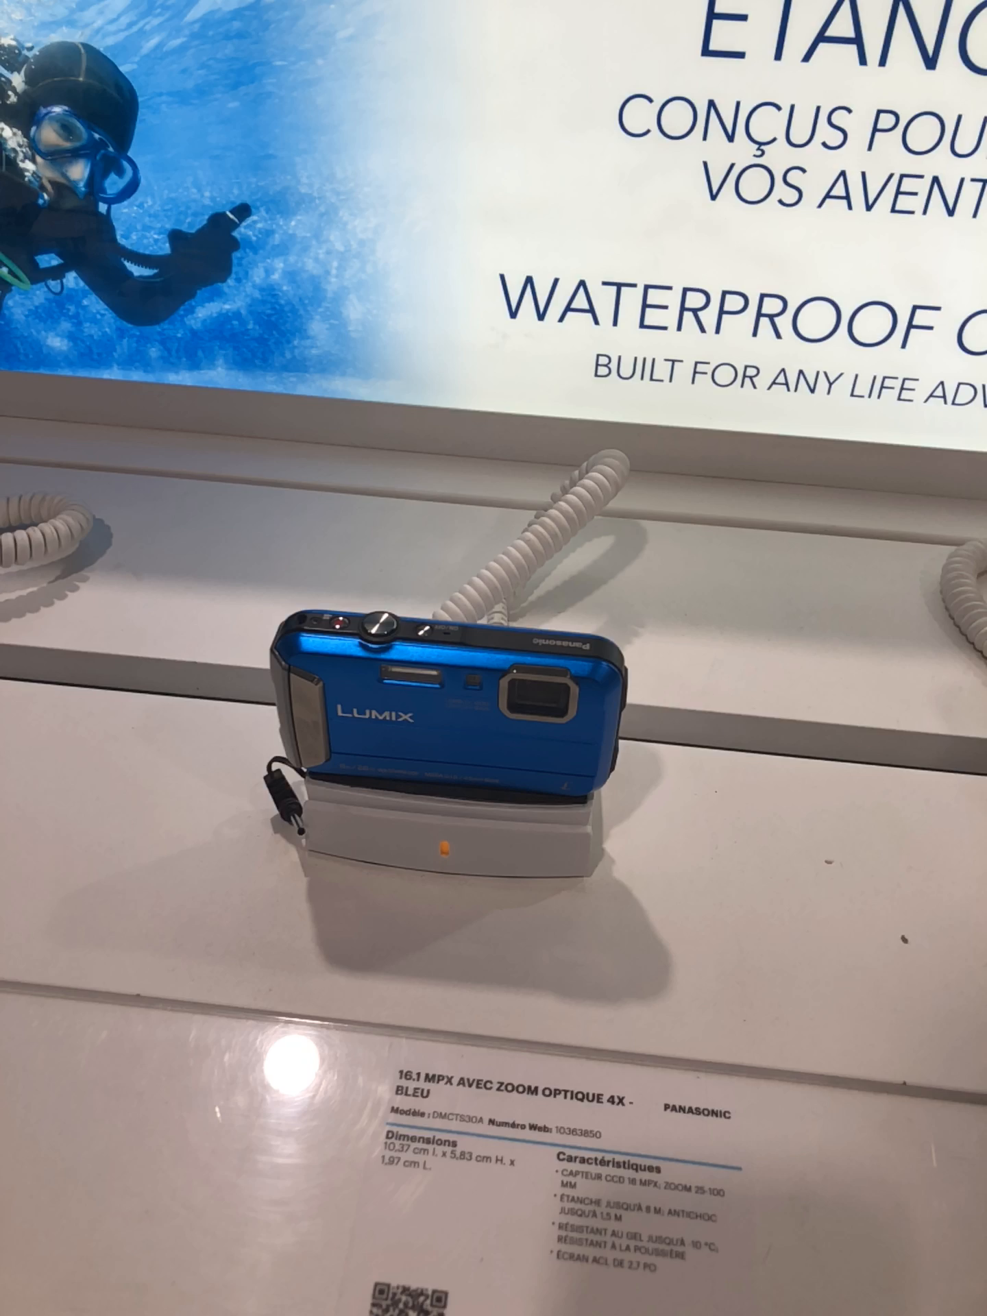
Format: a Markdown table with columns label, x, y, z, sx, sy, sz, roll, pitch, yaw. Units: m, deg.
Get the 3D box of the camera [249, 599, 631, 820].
| label | x | y | z | sx | sy | sz | roll | pitch | yaw |
| --- | --- | --- | --- | --- | --- | --- | --- | --- | --- |
| camera | -0.015 | 0.016 | 0.326 | 0.106 | 0.060 | 0.020 | 5 | 40 | 3 |
